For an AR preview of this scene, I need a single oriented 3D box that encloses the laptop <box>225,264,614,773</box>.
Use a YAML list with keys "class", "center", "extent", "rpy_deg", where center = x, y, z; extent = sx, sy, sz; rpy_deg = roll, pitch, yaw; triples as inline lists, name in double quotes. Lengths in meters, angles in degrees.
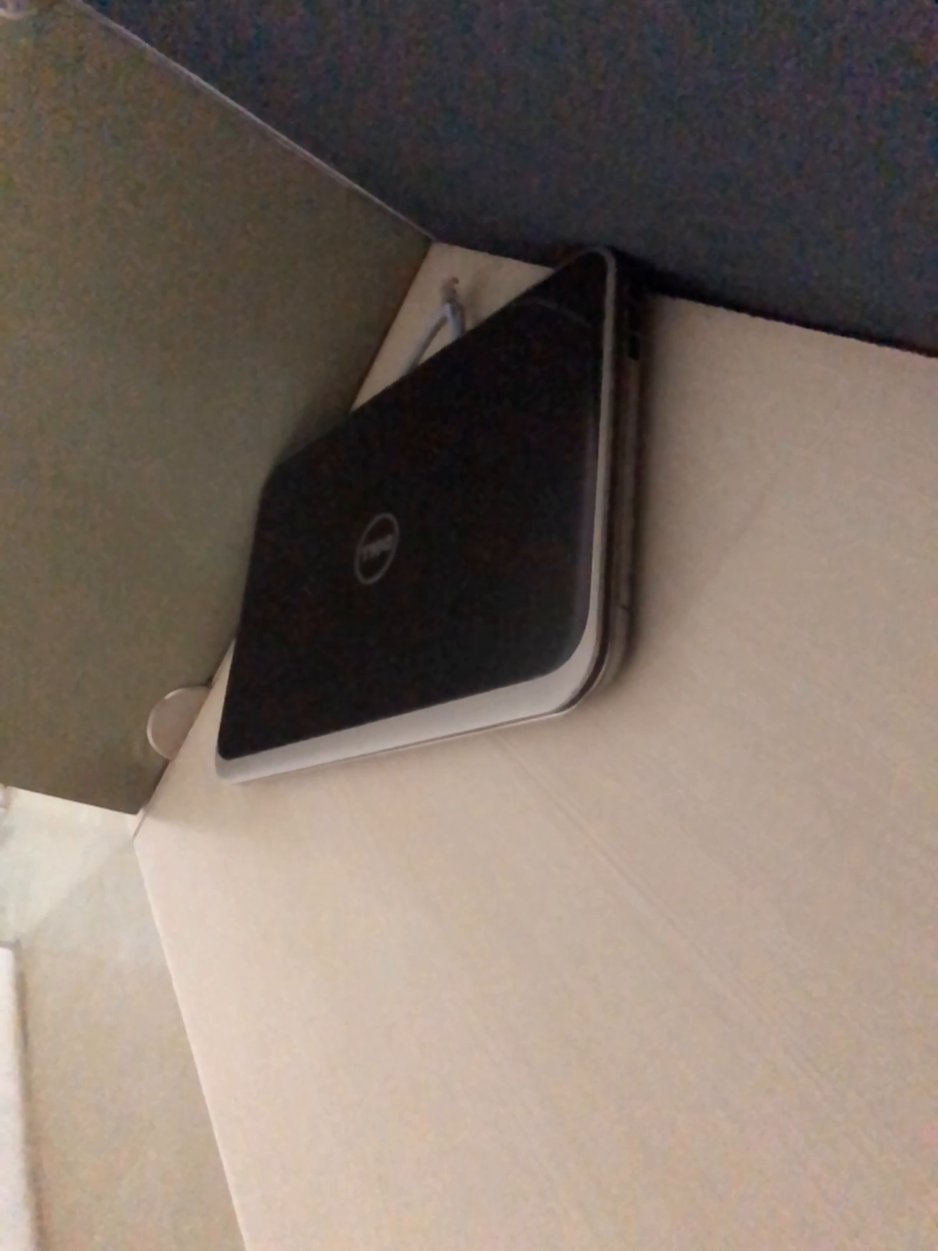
- class: "laptop"
  center: [-0.050, -0.041, 0.642]
  extent: [0.373, 0.010, 0.246]
  rpy_deg: [-18, 57, 52]
